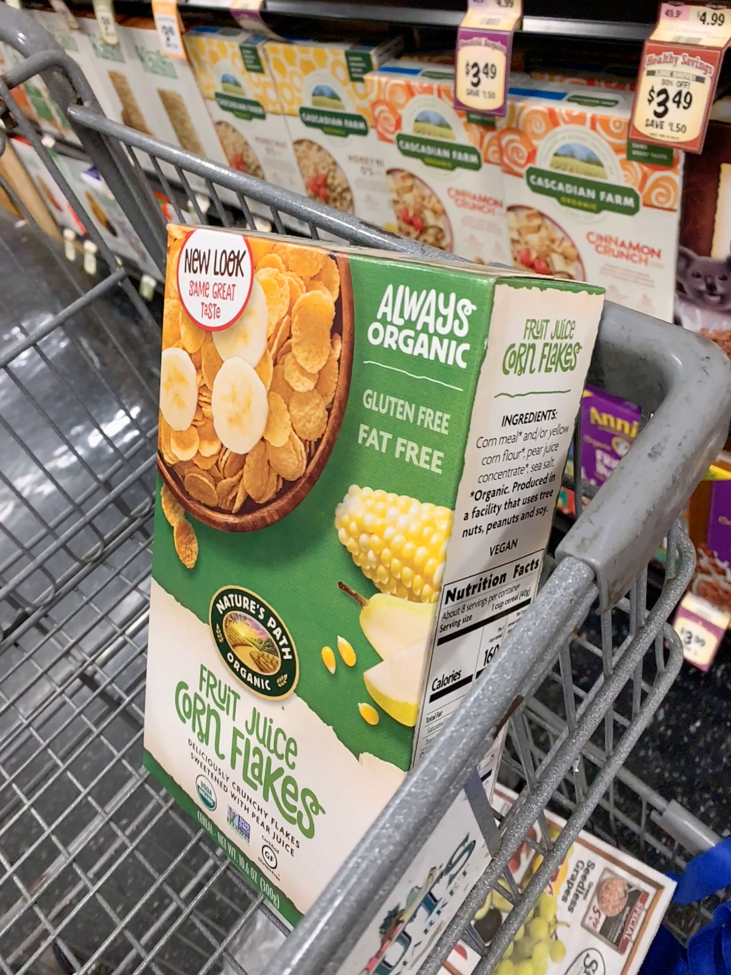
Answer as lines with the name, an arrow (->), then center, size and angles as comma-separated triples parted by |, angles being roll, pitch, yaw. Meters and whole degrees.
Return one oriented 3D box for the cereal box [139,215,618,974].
cereal box -> -0.017, 0.034, 0.296 | 0.060, 0.250, 0.161 | -10, 25, -43
